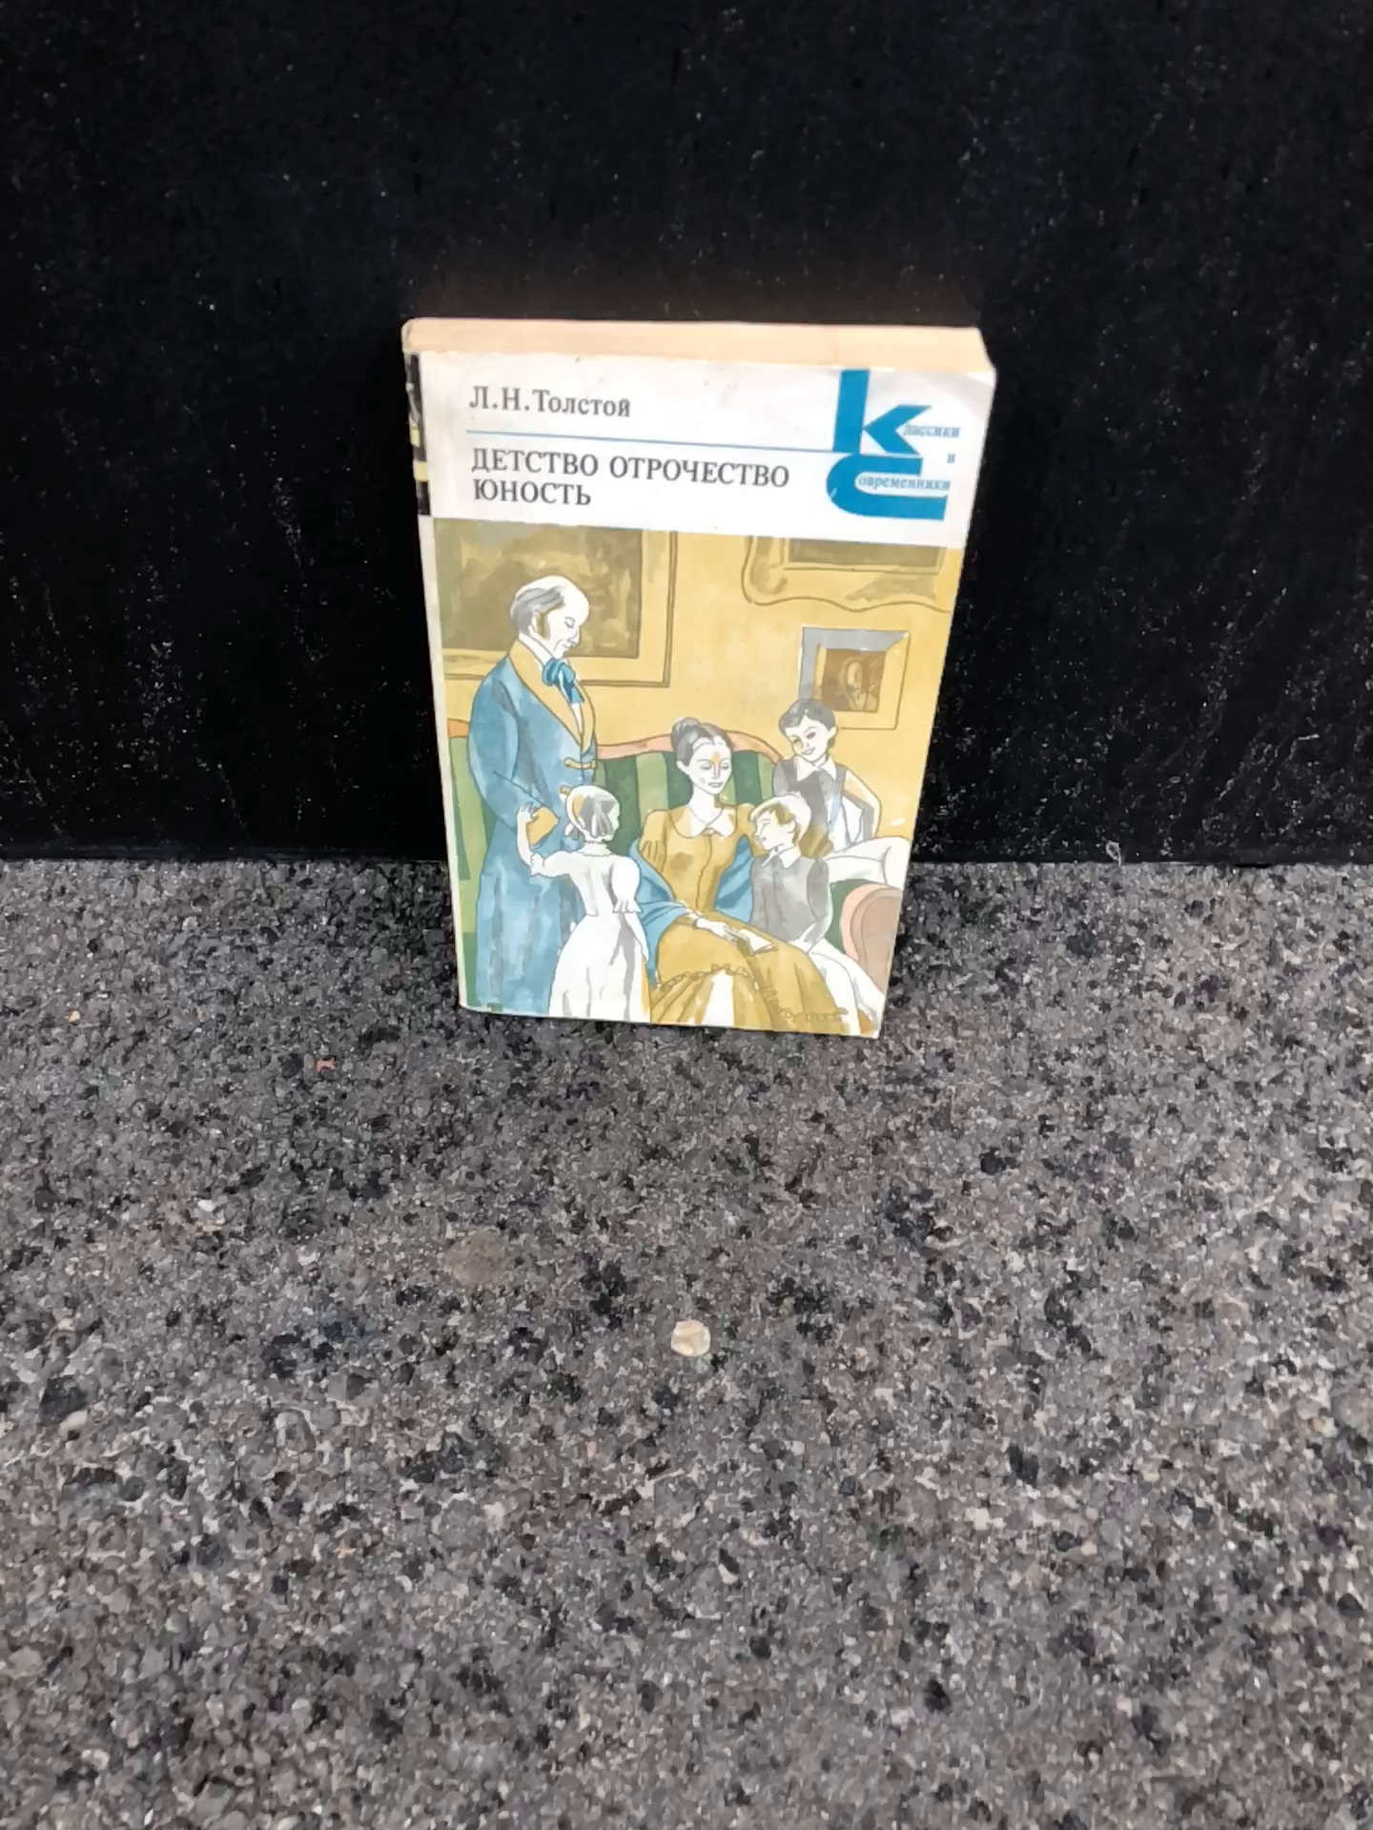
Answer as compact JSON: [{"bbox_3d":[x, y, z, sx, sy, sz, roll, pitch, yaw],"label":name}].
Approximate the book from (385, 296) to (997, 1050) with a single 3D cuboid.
[{"bbox_3d":[-0.003,-0.047,0.366,0.120,0.184,0.030,3,40,0],"label":"book"}]
